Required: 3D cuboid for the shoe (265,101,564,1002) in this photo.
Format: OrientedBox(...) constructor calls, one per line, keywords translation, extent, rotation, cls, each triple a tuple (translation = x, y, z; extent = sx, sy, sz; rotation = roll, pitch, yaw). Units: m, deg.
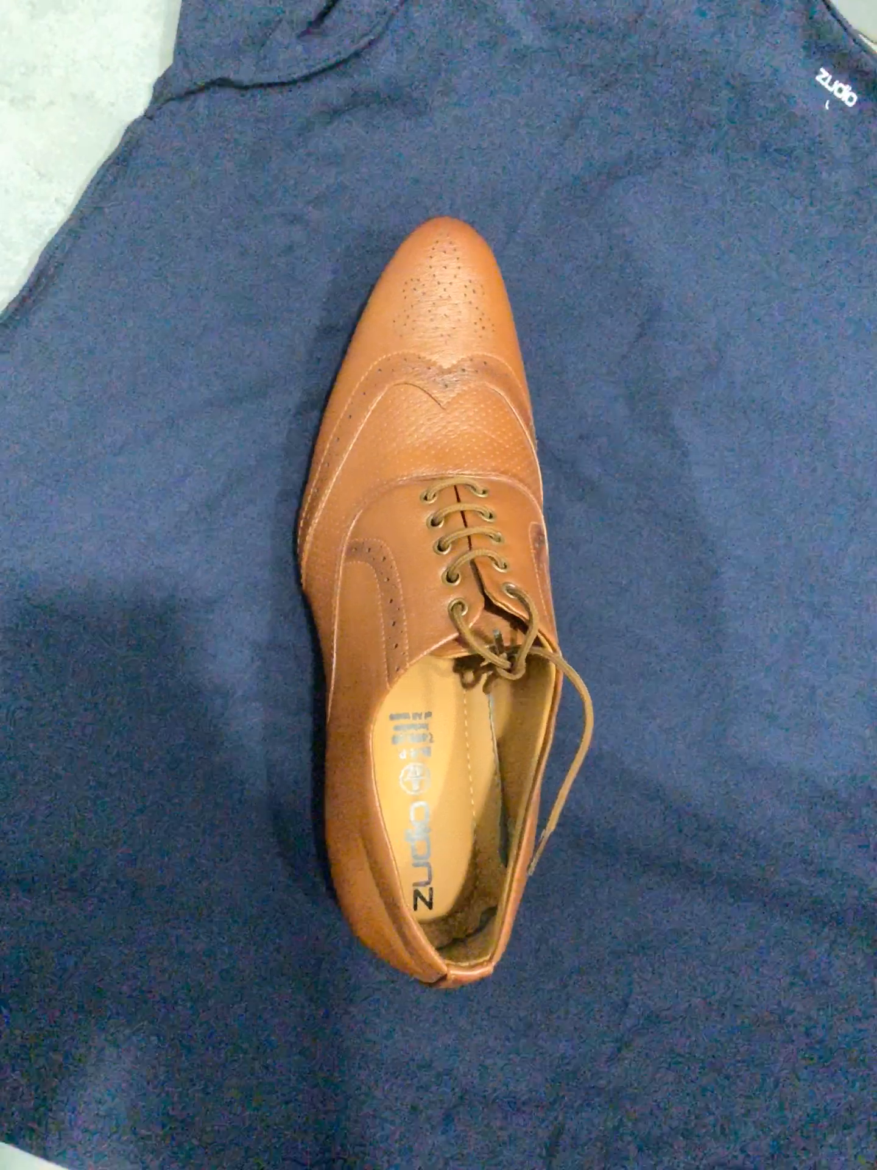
OrientedBox(translation=(-0.012, -0.014, 0.368), extent=(0.100, 0.090, 0.320), rotation=(3, 82, -11), cls="shoe")
